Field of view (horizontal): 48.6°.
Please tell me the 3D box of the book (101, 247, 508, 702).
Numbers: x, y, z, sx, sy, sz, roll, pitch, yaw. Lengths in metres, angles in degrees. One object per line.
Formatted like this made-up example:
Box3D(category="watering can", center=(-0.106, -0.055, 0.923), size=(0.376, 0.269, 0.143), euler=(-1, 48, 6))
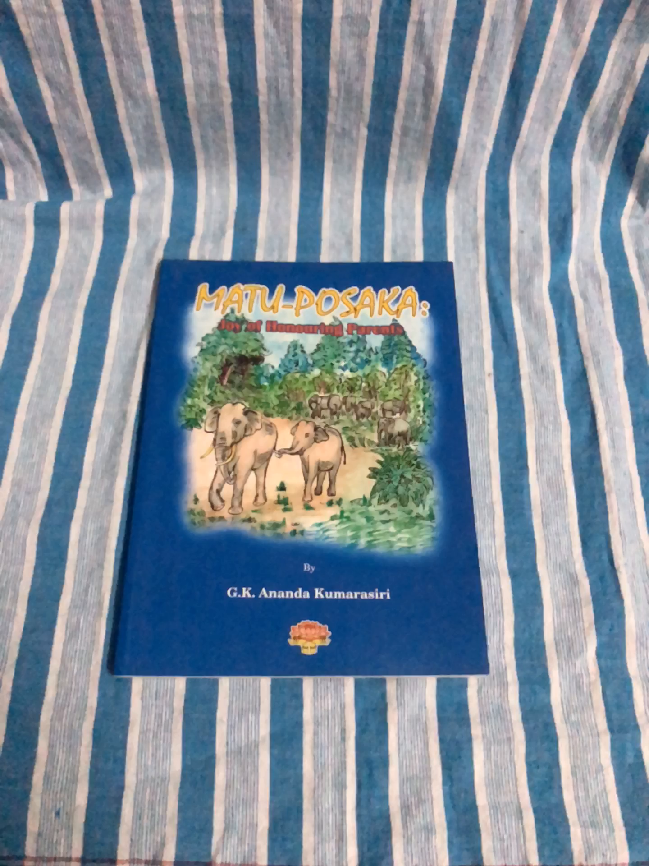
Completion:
Box3D(category="book", center=(-0.007, 0.008, 0.356), size=(0.170, 0.020, 0.231), euler=(1, 66, 0))
